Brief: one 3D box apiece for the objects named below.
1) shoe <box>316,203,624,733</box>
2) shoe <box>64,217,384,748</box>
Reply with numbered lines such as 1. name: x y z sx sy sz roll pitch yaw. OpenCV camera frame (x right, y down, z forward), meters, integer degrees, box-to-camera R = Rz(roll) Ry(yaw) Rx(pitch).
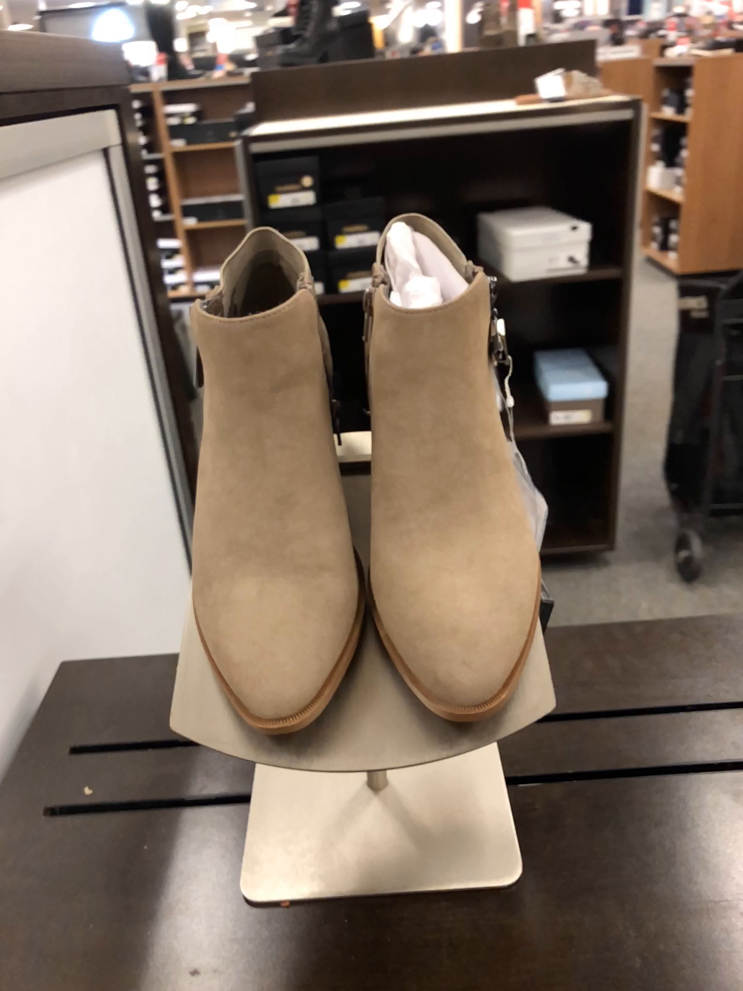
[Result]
1. shoe: 0.031 -0.034 0.407 0.094 0.153 0.241 -6 32 -1
2. shoe: -0.056 -0.024 0.407 0.094 0.152 0.231 -6 34 -1
